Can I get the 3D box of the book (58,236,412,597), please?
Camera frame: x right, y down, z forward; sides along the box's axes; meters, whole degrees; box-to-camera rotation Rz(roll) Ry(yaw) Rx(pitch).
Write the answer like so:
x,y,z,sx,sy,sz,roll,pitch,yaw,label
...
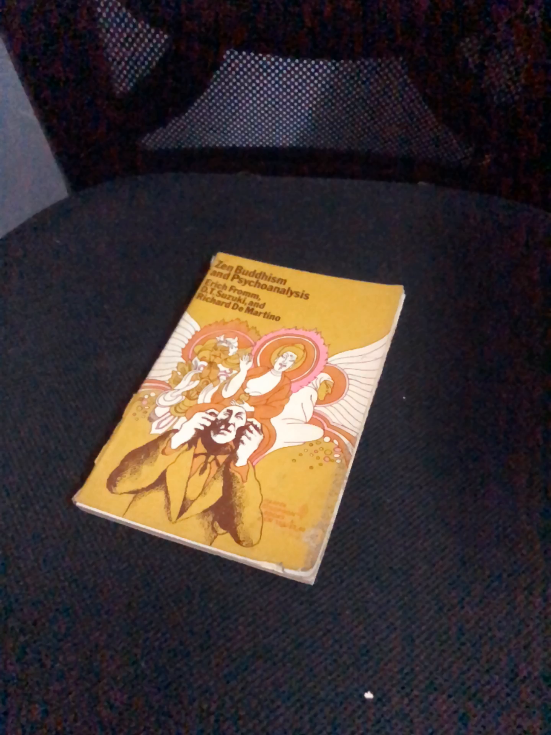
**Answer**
x,y,z,sx,sy,sz,roll,pitch,yaw,label
-0.011,0.009,0.351,0.136,0.020,0.201,13,55,14,book
